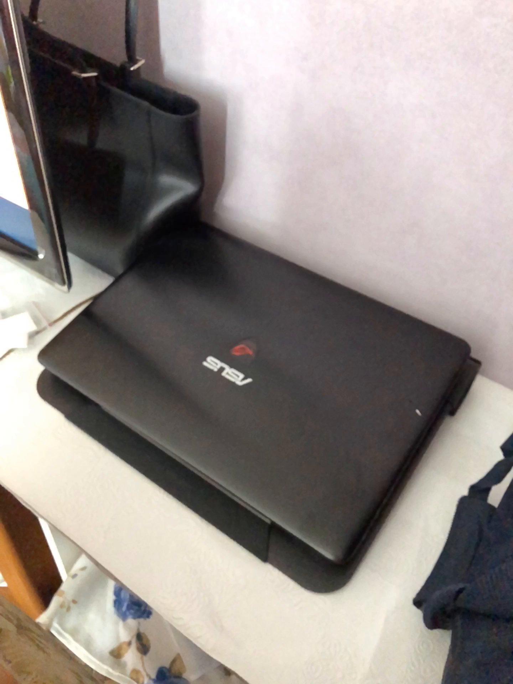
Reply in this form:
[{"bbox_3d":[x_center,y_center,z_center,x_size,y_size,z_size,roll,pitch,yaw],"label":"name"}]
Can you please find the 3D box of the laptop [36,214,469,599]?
[{"bbox_3d":[-0.013,0.030,0.631,0.395,0.060,0.267,27,59,24],"label":"laptop"}]
